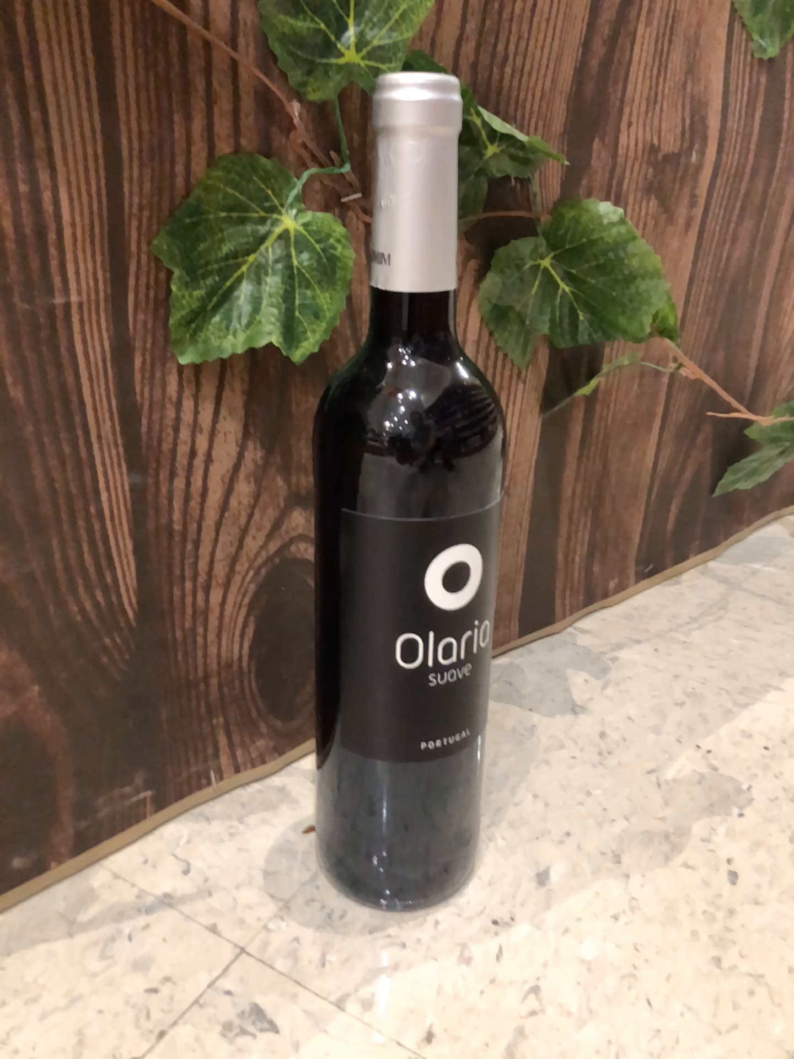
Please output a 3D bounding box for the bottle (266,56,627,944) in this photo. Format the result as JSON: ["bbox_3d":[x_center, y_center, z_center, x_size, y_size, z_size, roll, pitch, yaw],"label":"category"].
[{"bbox_3d":[0.010,-0.002,0.328,0.080,0.298,0.080,1,22,0],"label":"bottle"}]
